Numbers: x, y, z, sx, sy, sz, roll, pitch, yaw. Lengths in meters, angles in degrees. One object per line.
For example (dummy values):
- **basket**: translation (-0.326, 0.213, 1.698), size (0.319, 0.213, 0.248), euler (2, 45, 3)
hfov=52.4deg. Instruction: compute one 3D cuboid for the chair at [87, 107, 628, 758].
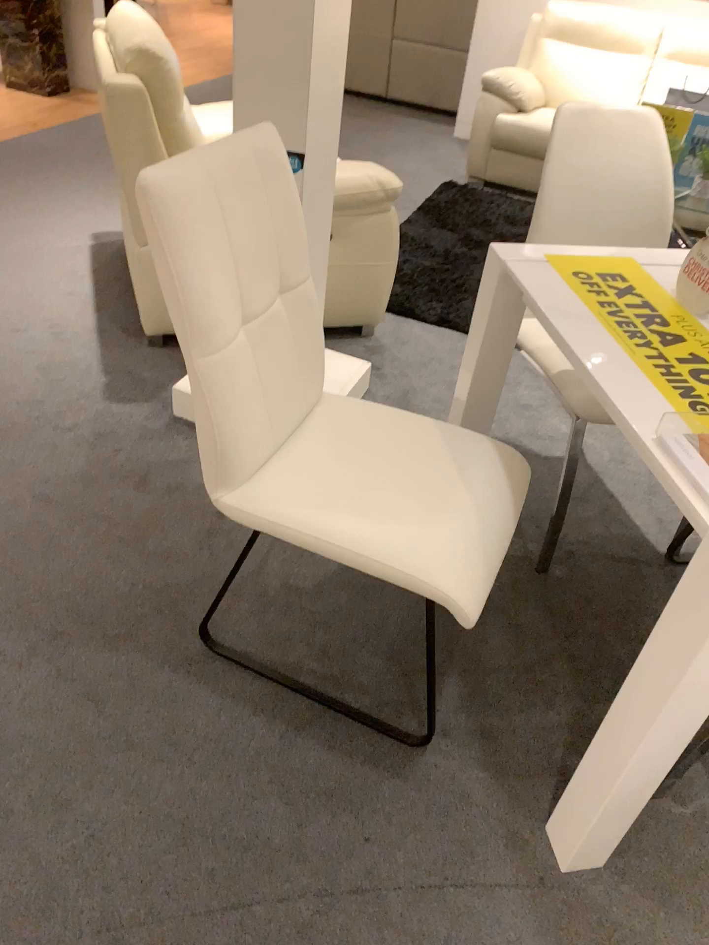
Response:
- **chair**: translation (0.005, -0.070, 1.316), size (0.631, 0.891, 0.545), euler (19, 40, 13)
